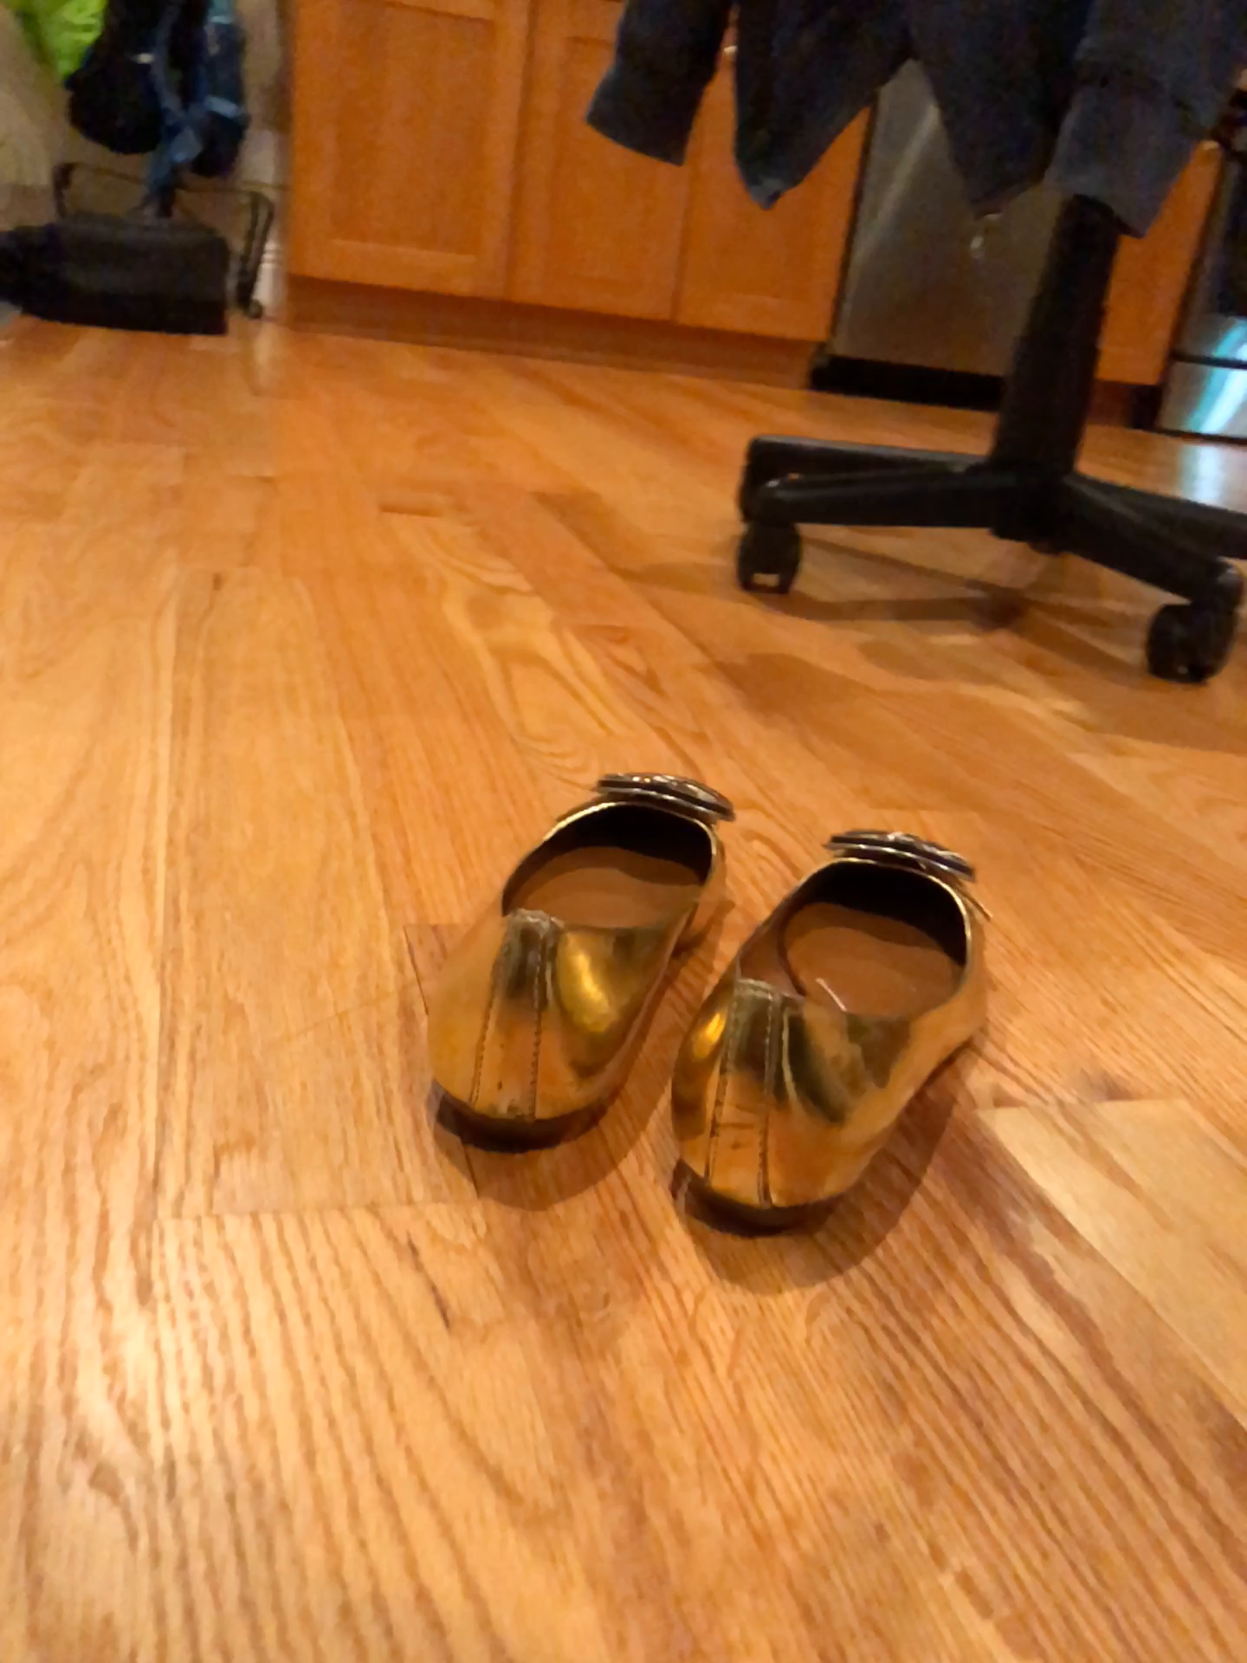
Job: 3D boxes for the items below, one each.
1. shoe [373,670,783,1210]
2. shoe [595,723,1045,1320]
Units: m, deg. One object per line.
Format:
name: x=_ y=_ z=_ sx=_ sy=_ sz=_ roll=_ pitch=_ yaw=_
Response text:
shoe: x=-0.001 y=0.016 z=0.458 sx=0.082 sy=0.066 sz=0.245 roll=11 pitch=23 yaw=6
shoe: x=0.077 y=0.037 z=0.435 sx=0.077 sy=0.066 sz=0.250 roll=15 pitch=23 yaw=16
